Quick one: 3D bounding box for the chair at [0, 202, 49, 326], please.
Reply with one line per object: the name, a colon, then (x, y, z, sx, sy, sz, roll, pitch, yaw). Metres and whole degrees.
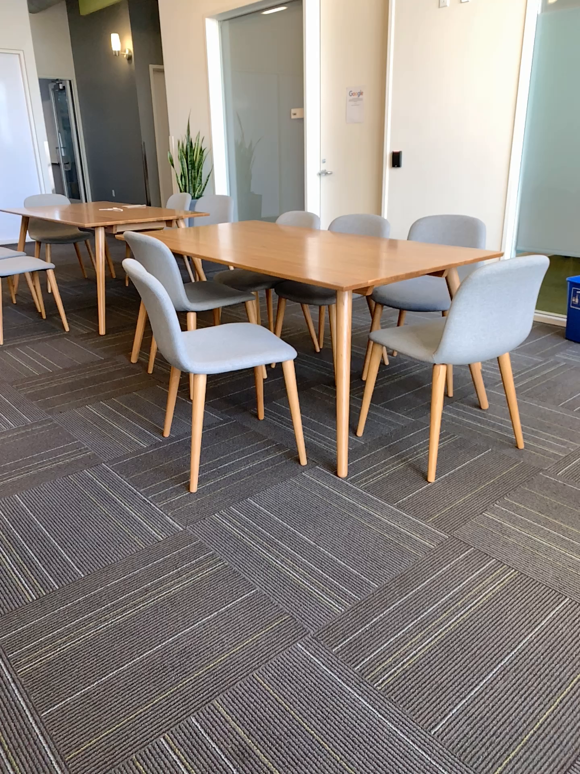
chair: (-2.226, -0.940, 4.420, 0.530, 0.776, 0.573, -19, 28, -38)

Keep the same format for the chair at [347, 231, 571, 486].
chair: (0.611, -0.154, 2.293, 0.560, 0.776, 0.533, -14, 25, -30)

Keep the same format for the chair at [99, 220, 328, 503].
chair: (-0.310, -0.170, 2.297, 0.630, 0.816, 0.764, -10, 23, -22)

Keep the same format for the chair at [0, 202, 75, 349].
chair: (-1.844, -0.753, 3.876, 0.570, 0.796, 0.593, -17, 26, -35)
